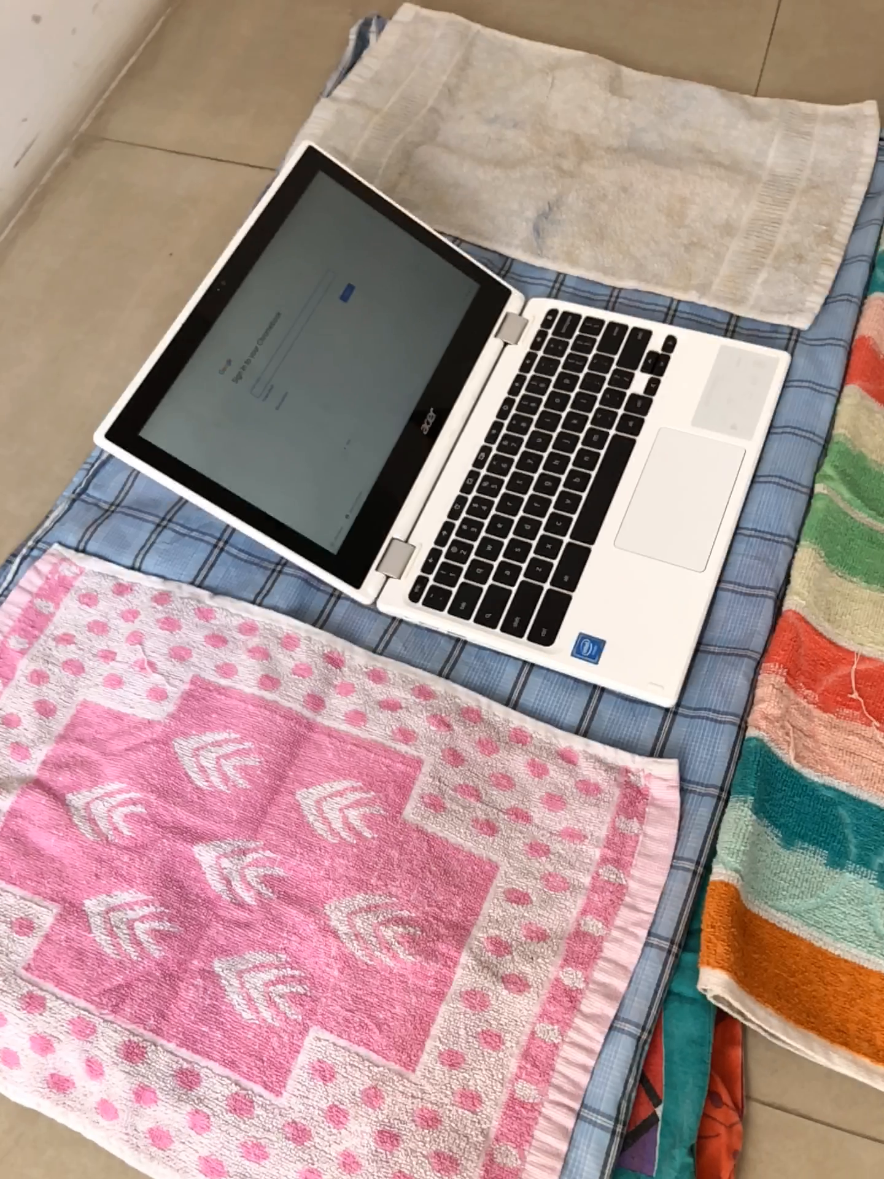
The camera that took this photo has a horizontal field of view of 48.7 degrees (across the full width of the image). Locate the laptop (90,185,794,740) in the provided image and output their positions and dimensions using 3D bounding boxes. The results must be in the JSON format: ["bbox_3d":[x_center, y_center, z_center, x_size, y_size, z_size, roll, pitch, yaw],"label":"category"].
[{"bbox_3d":[0.005,-0.106,0.655,0.367,0.101,0.286,17,64,17],"label":"laptop"}]
